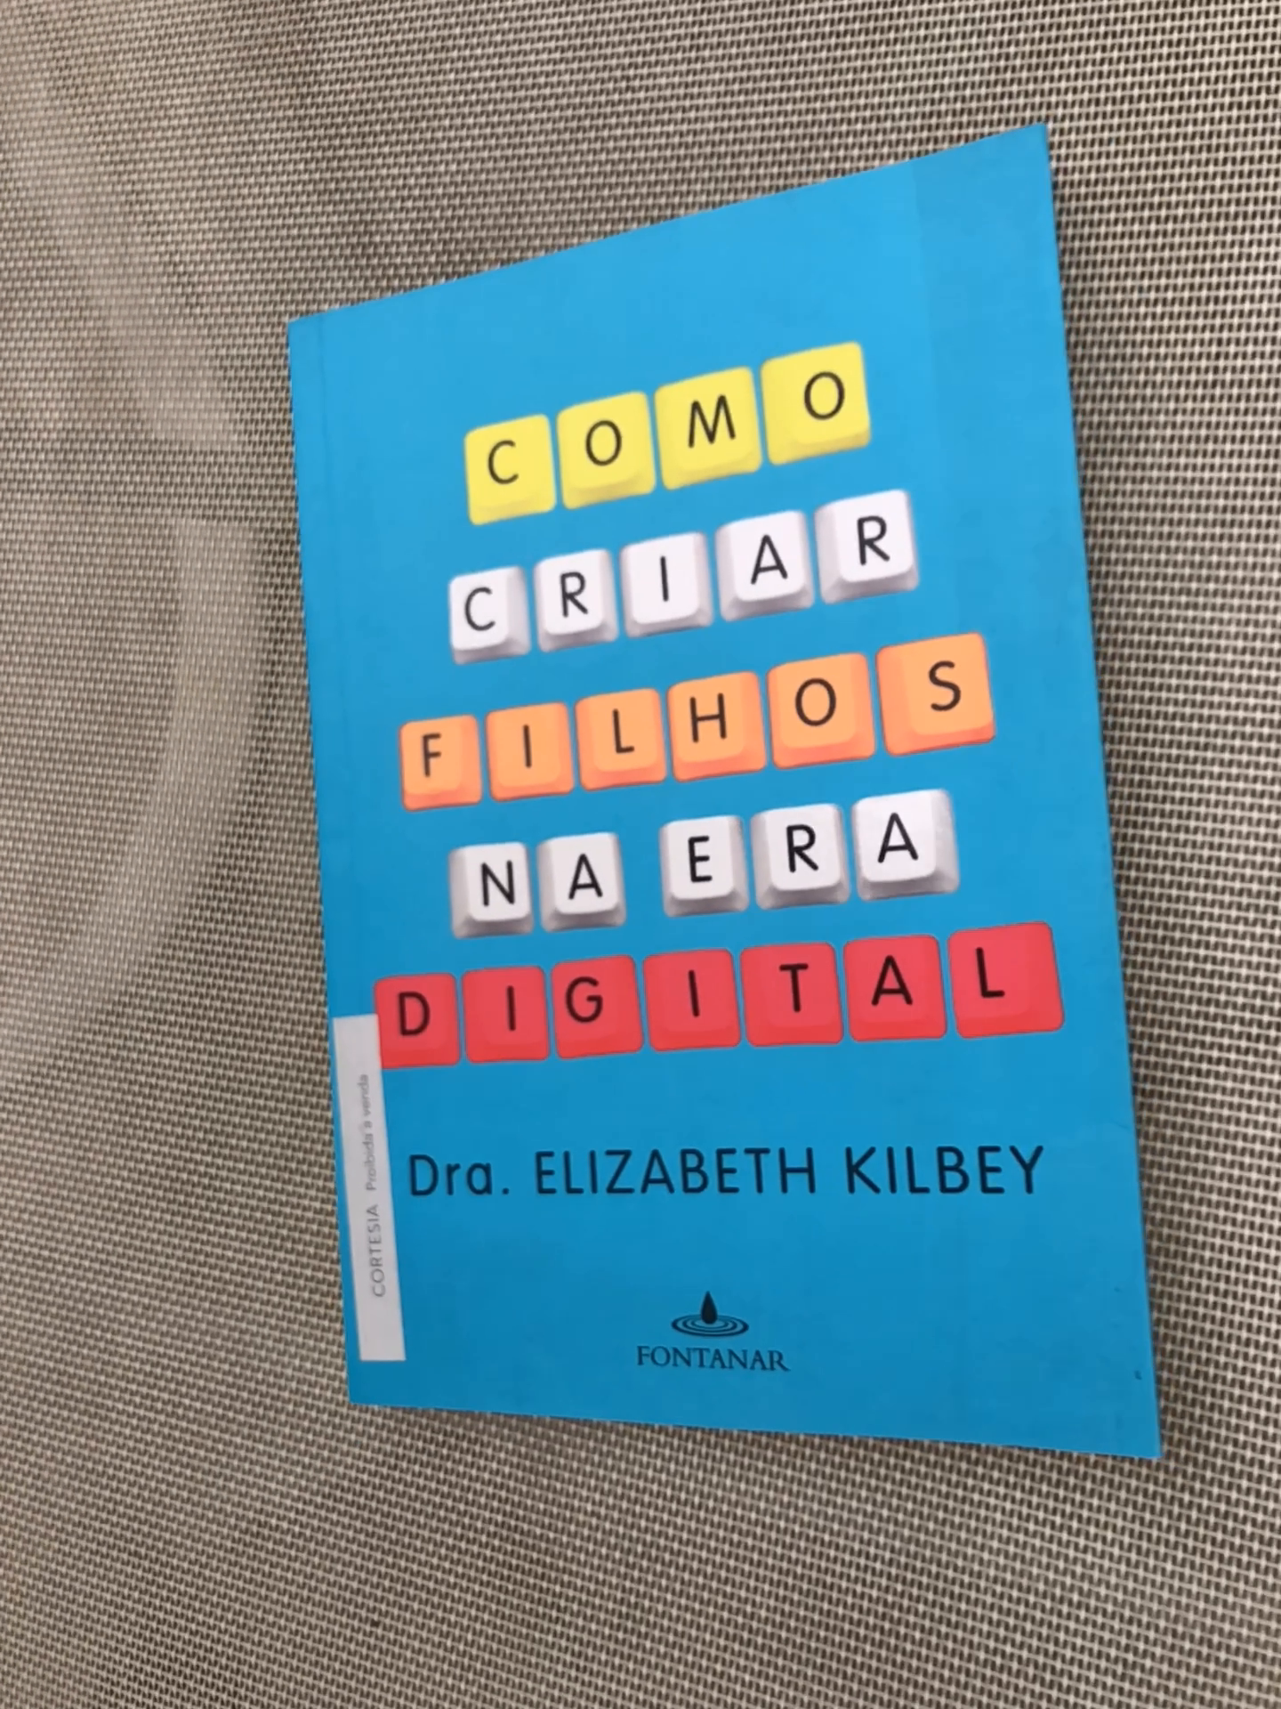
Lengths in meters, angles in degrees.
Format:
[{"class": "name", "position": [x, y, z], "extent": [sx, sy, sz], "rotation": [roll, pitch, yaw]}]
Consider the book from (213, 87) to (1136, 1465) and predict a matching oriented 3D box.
[{"class": "book", "position": [-0.003, -0.009, 0.274], "extent": [0.163, 0.020, 0.228], "rotation": [-6, 86, 21]}]
